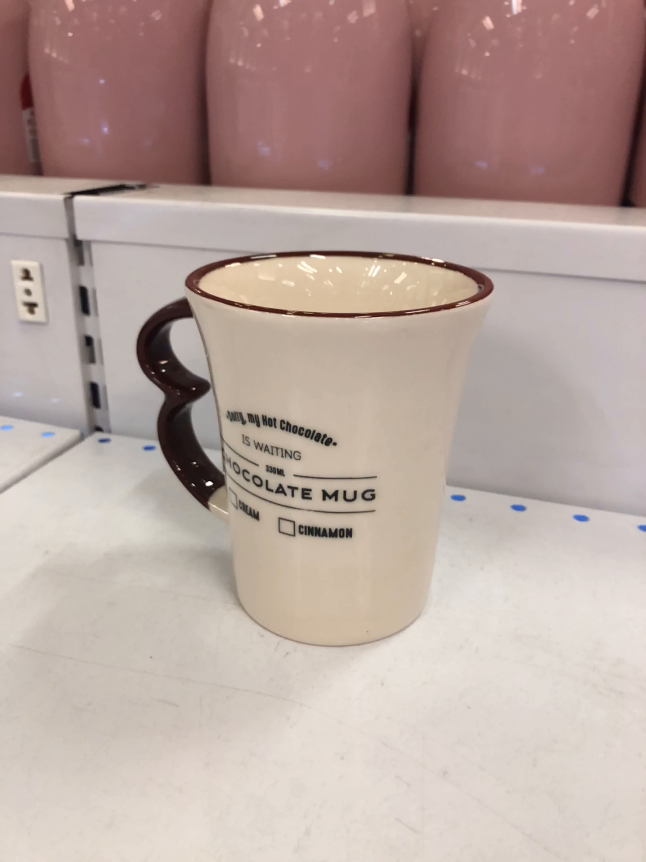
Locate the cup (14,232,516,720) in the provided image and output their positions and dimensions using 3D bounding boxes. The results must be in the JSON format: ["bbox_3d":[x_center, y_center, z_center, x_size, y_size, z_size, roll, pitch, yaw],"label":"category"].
[{"bbox_3d":[-0.011,0.002,0.234,0.120,0.109,0.091,10,24,19],"label":"cup"}]
